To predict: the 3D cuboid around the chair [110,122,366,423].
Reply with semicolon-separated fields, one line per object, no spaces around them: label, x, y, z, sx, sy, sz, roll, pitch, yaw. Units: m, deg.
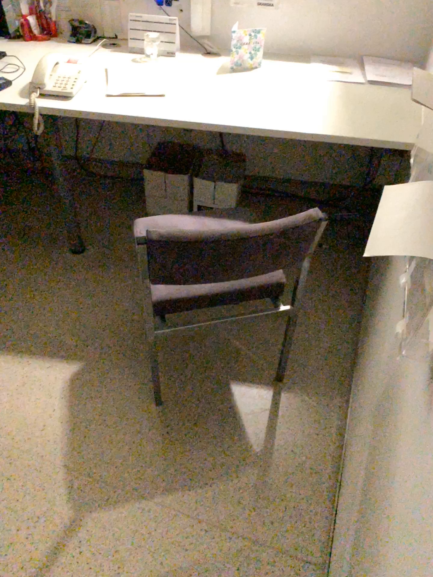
chair;0.000;-0.054;1.378;0.540;0.693;0.545;-7;44;-11
